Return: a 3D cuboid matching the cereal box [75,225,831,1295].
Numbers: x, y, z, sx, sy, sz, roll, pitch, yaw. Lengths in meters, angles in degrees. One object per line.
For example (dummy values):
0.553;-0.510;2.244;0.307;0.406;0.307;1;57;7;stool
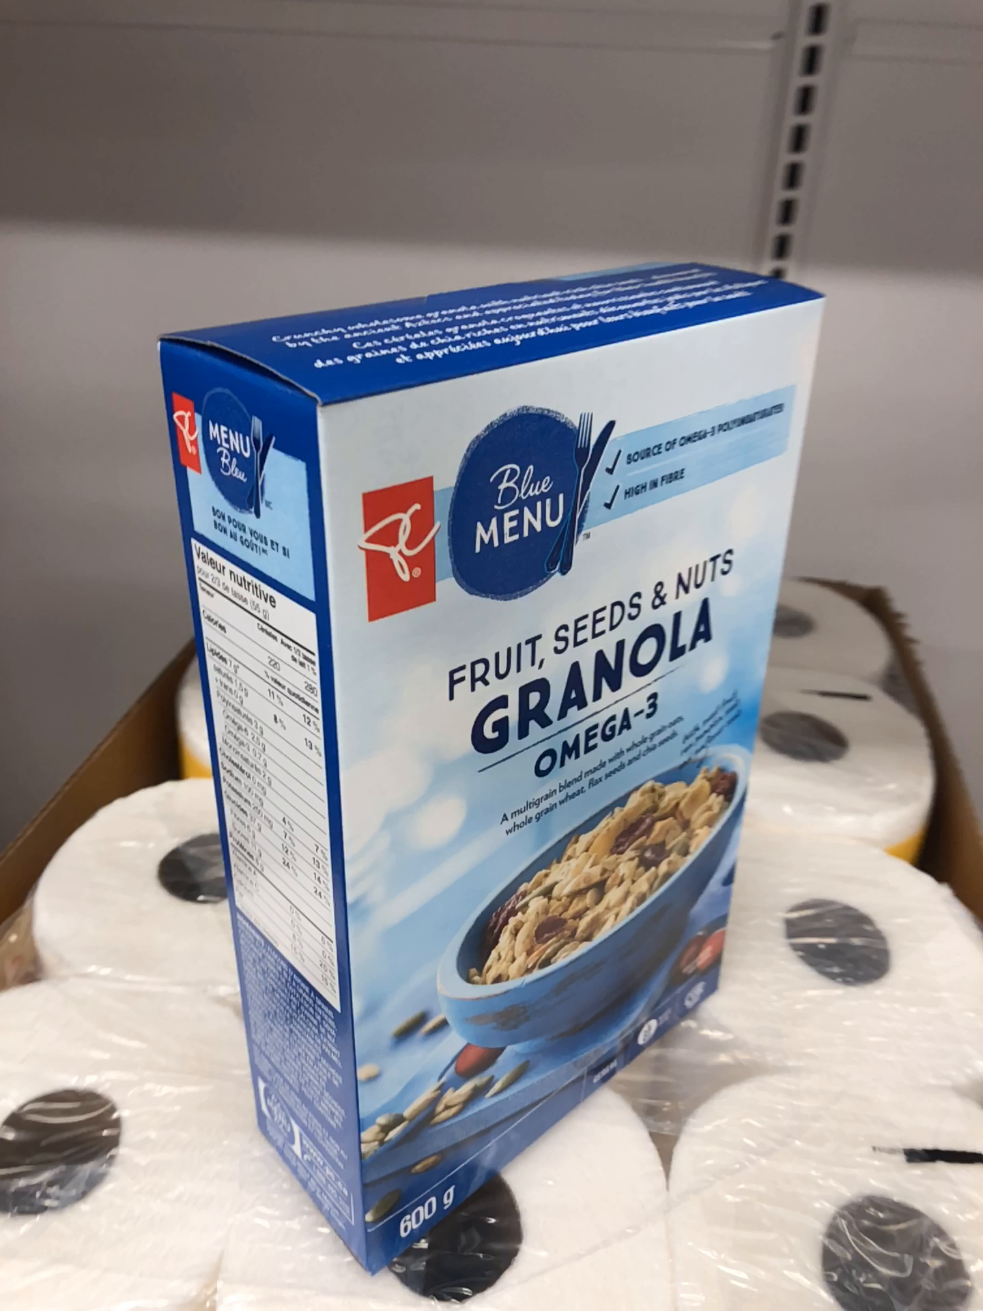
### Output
0.000;0.023;0.293;0.160;0.239;0.060;-23;36;-36;cereal box
